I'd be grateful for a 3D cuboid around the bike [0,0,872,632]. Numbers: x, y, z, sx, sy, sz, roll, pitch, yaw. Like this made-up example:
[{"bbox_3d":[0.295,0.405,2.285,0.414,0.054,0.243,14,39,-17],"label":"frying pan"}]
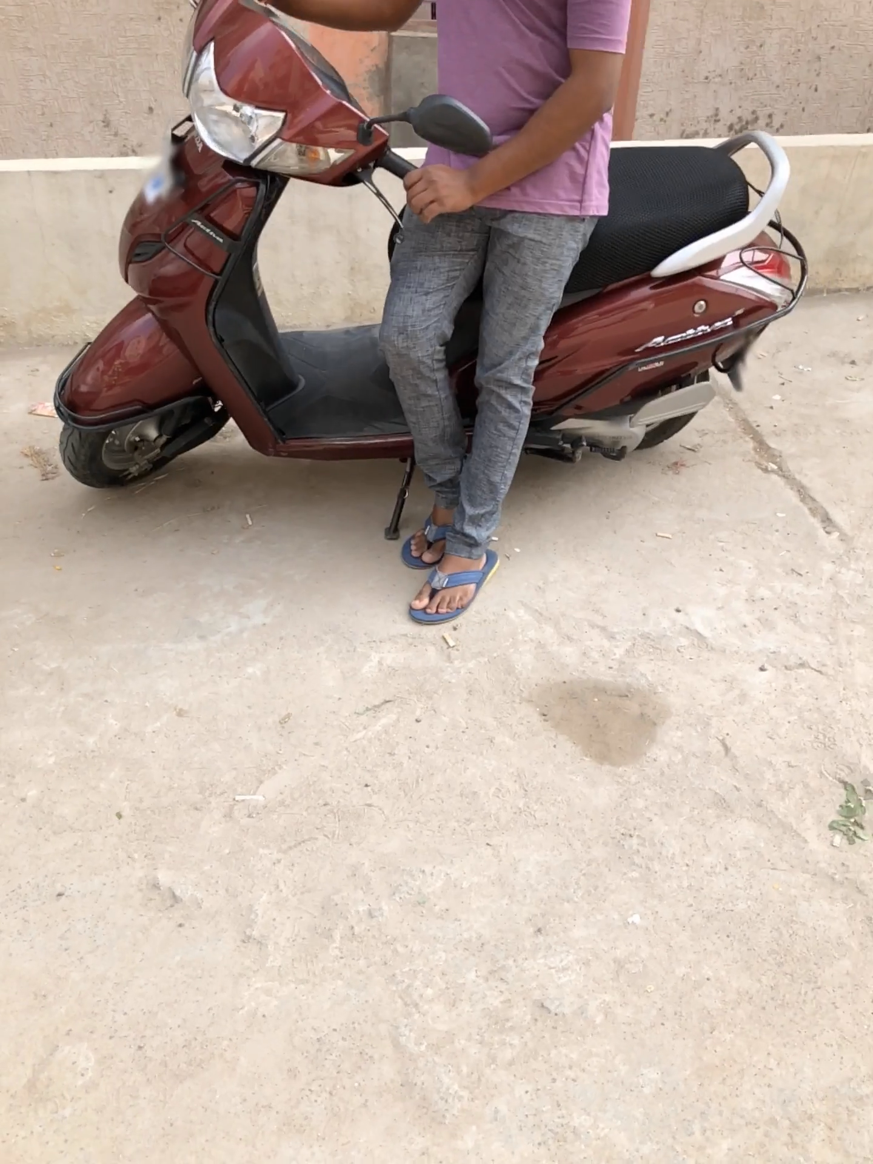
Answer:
[{"bbox_3d":[-0.060,-0.614,2.038,1.578,1.072,0.632,-7,37,-10],"label":"bike"}]
